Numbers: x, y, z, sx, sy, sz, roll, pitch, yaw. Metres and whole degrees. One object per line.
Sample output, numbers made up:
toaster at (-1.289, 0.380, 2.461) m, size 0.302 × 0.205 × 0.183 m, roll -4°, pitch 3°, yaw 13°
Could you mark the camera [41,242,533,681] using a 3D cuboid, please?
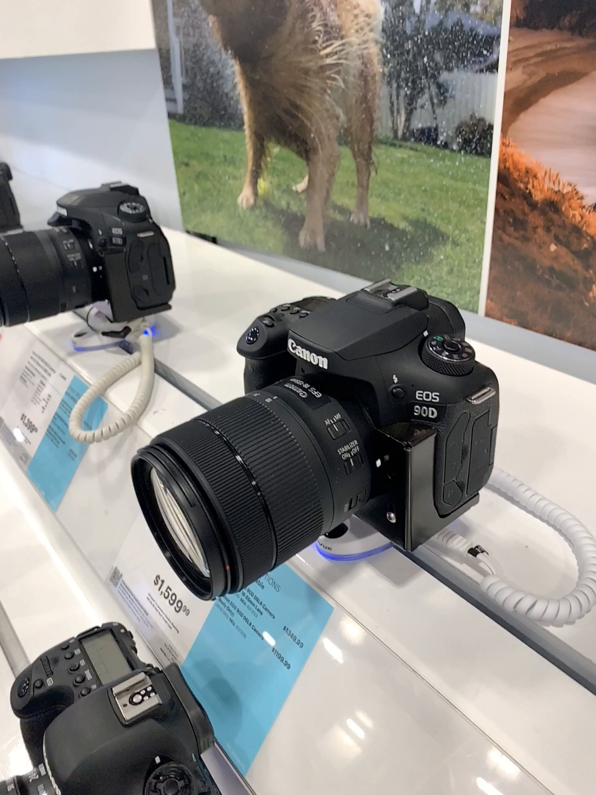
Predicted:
camera at (-0.005, 0.007, 0.306) m, size 0.170 × 0.104 × 0.149 m, roll -24°, pitch 35°, yaw -31°
